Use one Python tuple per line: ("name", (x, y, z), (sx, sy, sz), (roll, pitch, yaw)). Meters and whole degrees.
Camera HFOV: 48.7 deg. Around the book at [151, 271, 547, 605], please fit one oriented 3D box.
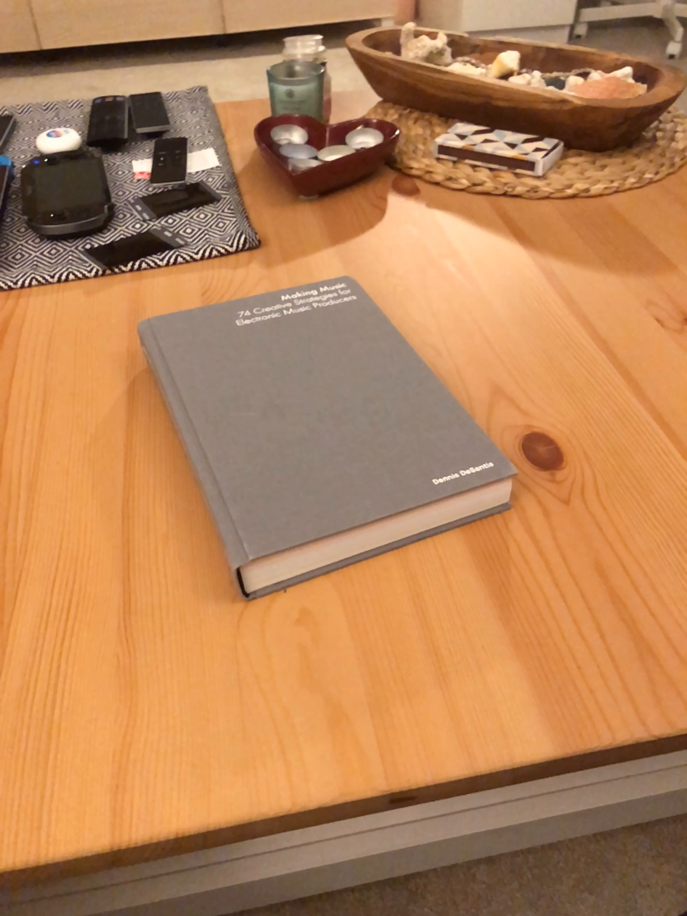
("book", (-0.011, -0.032, 0.471), (0.167, 0.030, 0.228), (-16, 45, -15))
